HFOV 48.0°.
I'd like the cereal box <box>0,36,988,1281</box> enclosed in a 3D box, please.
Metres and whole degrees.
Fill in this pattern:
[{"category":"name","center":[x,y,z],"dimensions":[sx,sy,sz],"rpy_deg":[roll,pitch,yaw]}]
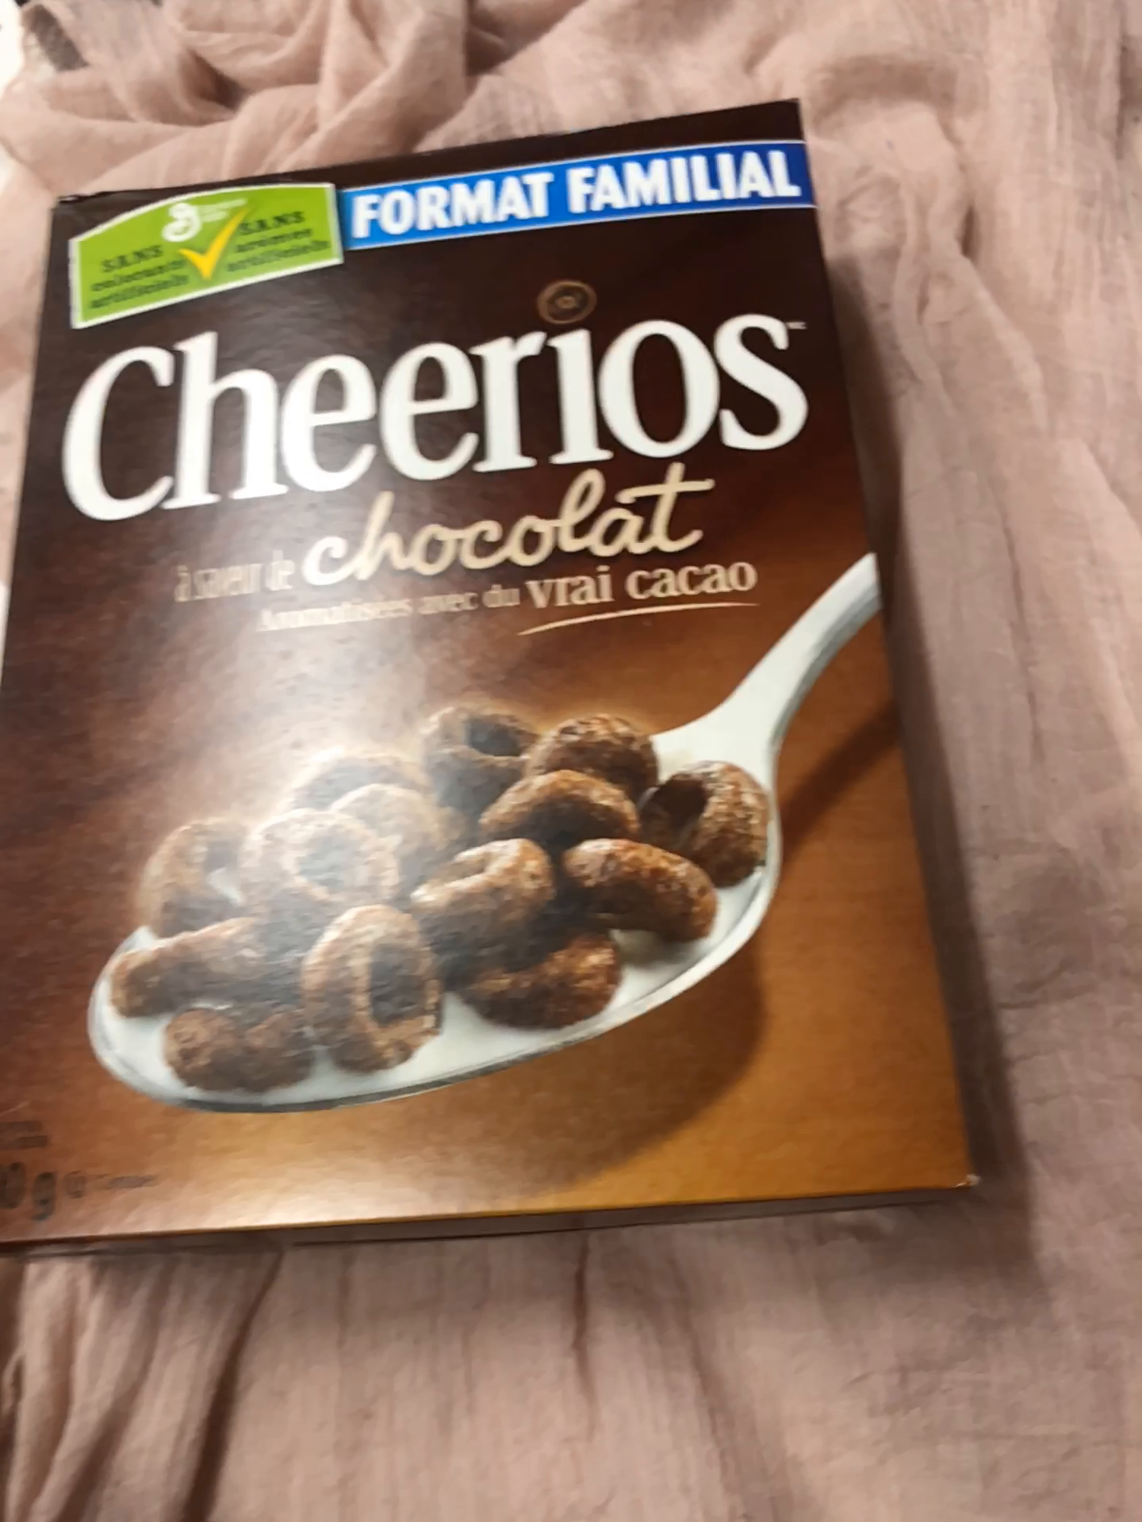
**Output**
[{"category":"cereal box","center":[-0.035,-0.035,0.368],"dimensions":[0.230,0.090,0.330],"rpy_deg":[-5,67,5]}]
